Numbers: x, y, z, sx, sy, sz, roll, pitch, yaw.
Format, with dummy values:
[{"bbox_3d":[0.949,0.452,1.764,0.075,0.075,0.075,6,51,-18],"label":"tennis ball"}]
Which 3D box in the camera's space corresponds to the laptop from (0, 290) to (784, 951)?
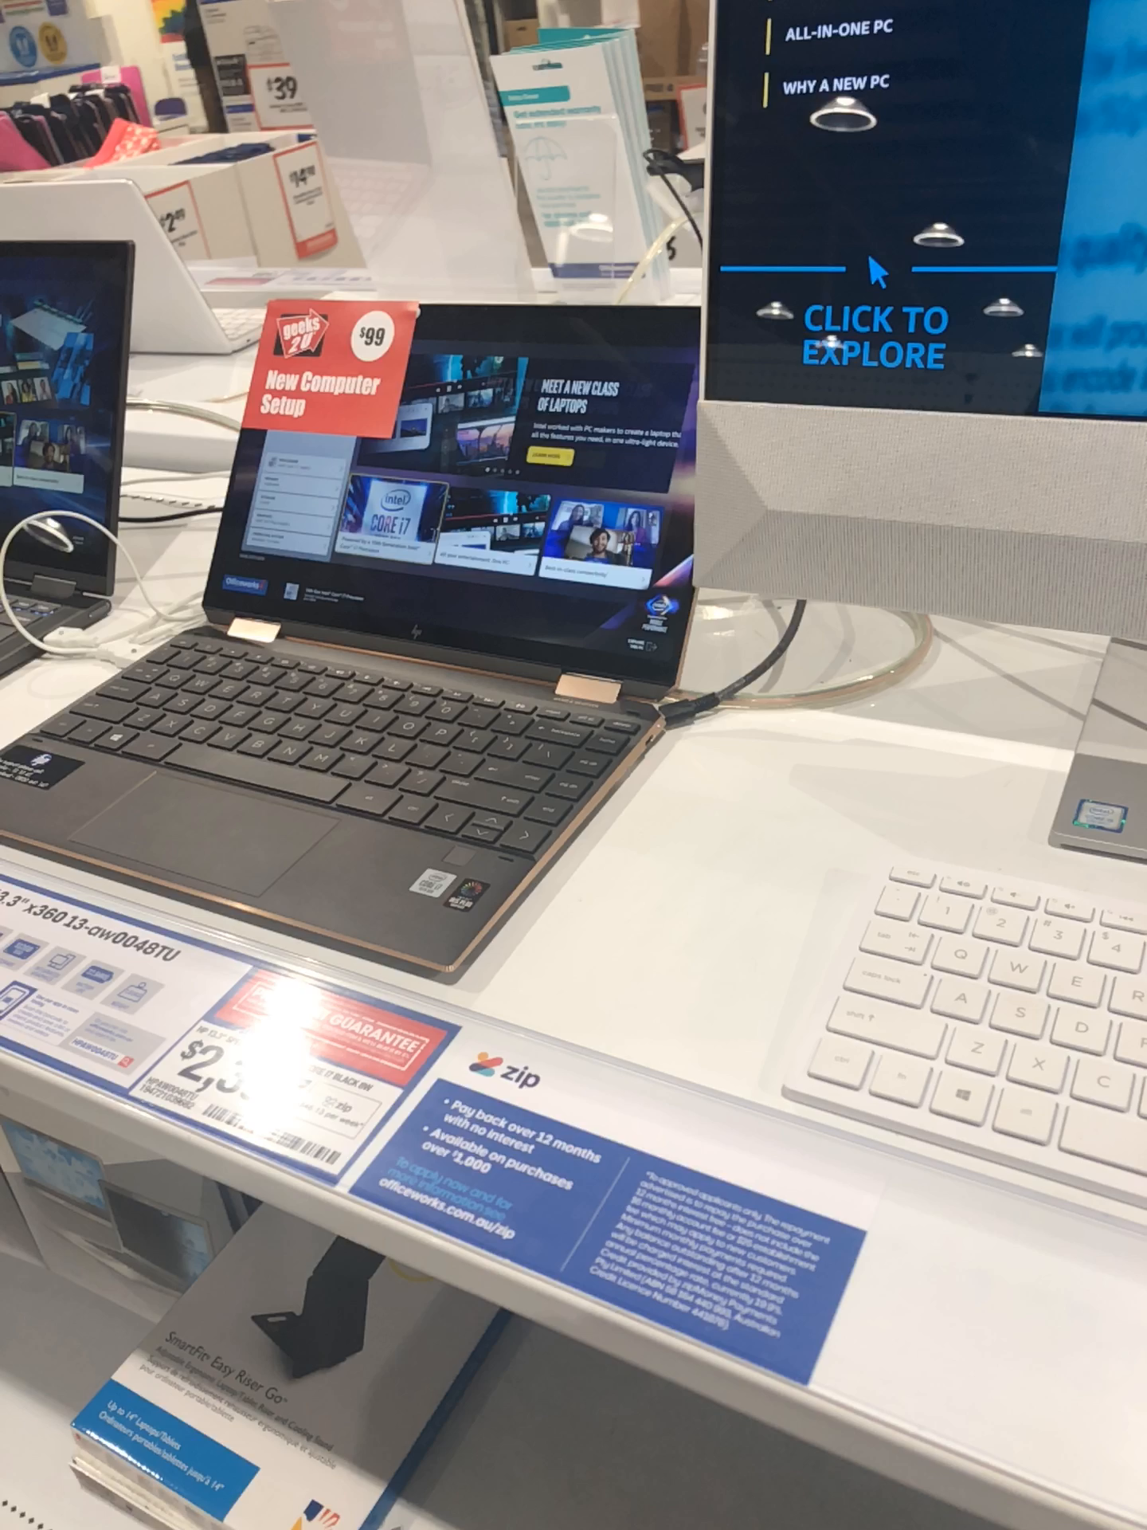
[{"bbox_3d":[-0.099,-0.104,0.599,0.298,0.147,0.315,11,38,28],"label":"laptop"}]
